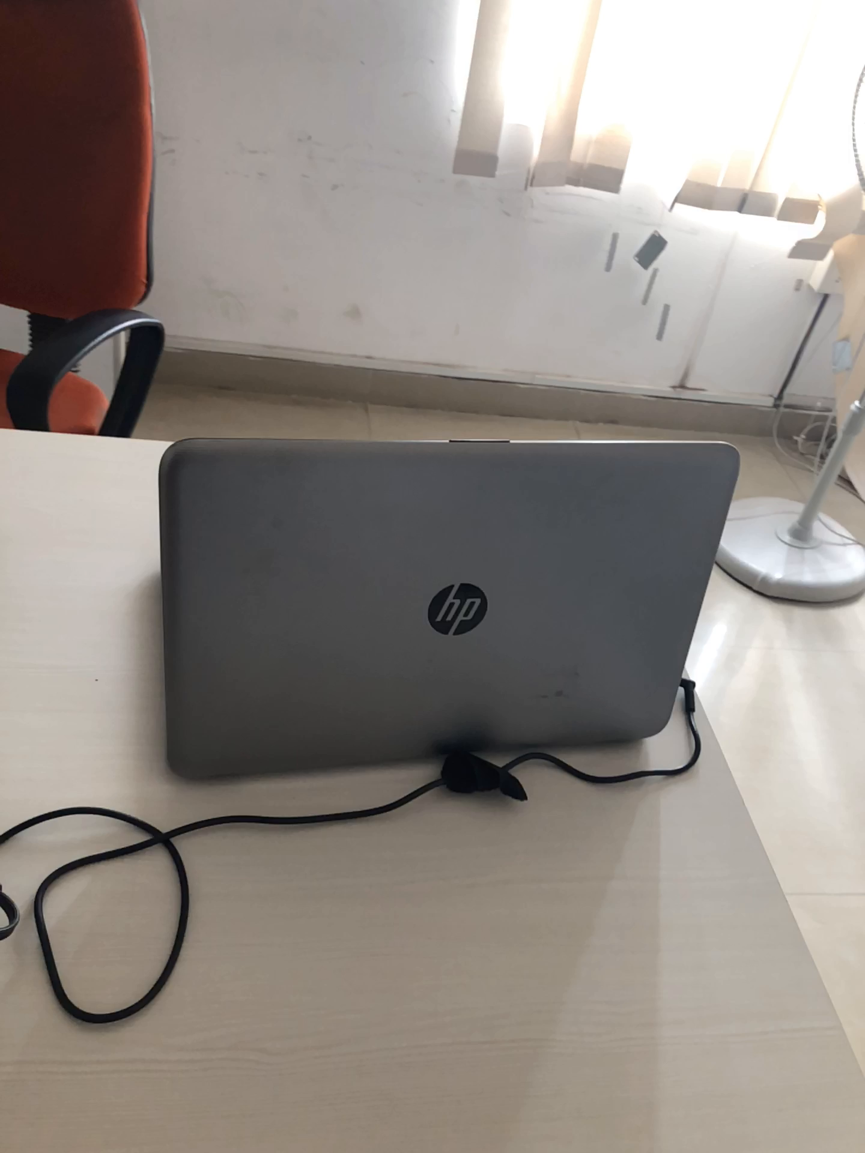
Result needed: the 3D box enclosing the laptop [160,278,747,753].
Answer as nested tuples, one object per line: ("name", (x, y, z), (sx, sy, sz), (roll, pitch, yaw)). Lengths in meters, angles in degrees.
("laptop", (-0.014, -0.049, 0.697), (0.351, 0.226, 0.217), (-2, 42, -15))
